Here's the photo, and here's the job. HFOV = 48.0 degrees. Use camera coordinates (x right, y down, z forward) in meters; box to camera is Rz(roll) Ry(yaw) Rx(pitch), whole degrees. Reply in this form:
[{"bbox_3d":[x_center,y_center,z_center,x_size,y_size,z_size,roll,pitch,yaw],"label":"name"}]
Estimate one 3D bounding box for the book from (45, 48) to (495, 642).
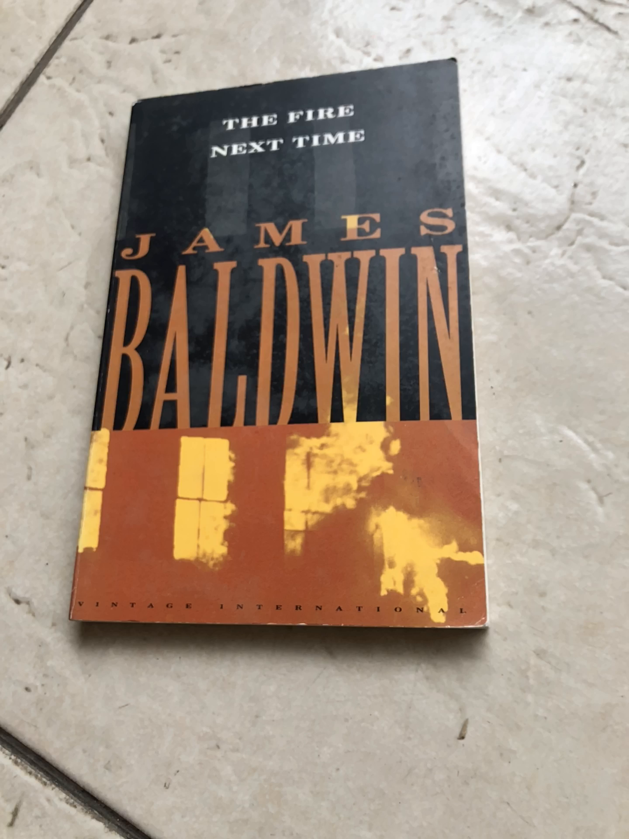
[{"bbox_3d":[-0.012,-0.032,0.238,0.130,0.016,0.200,-2,71,10],"label":"book"}]
